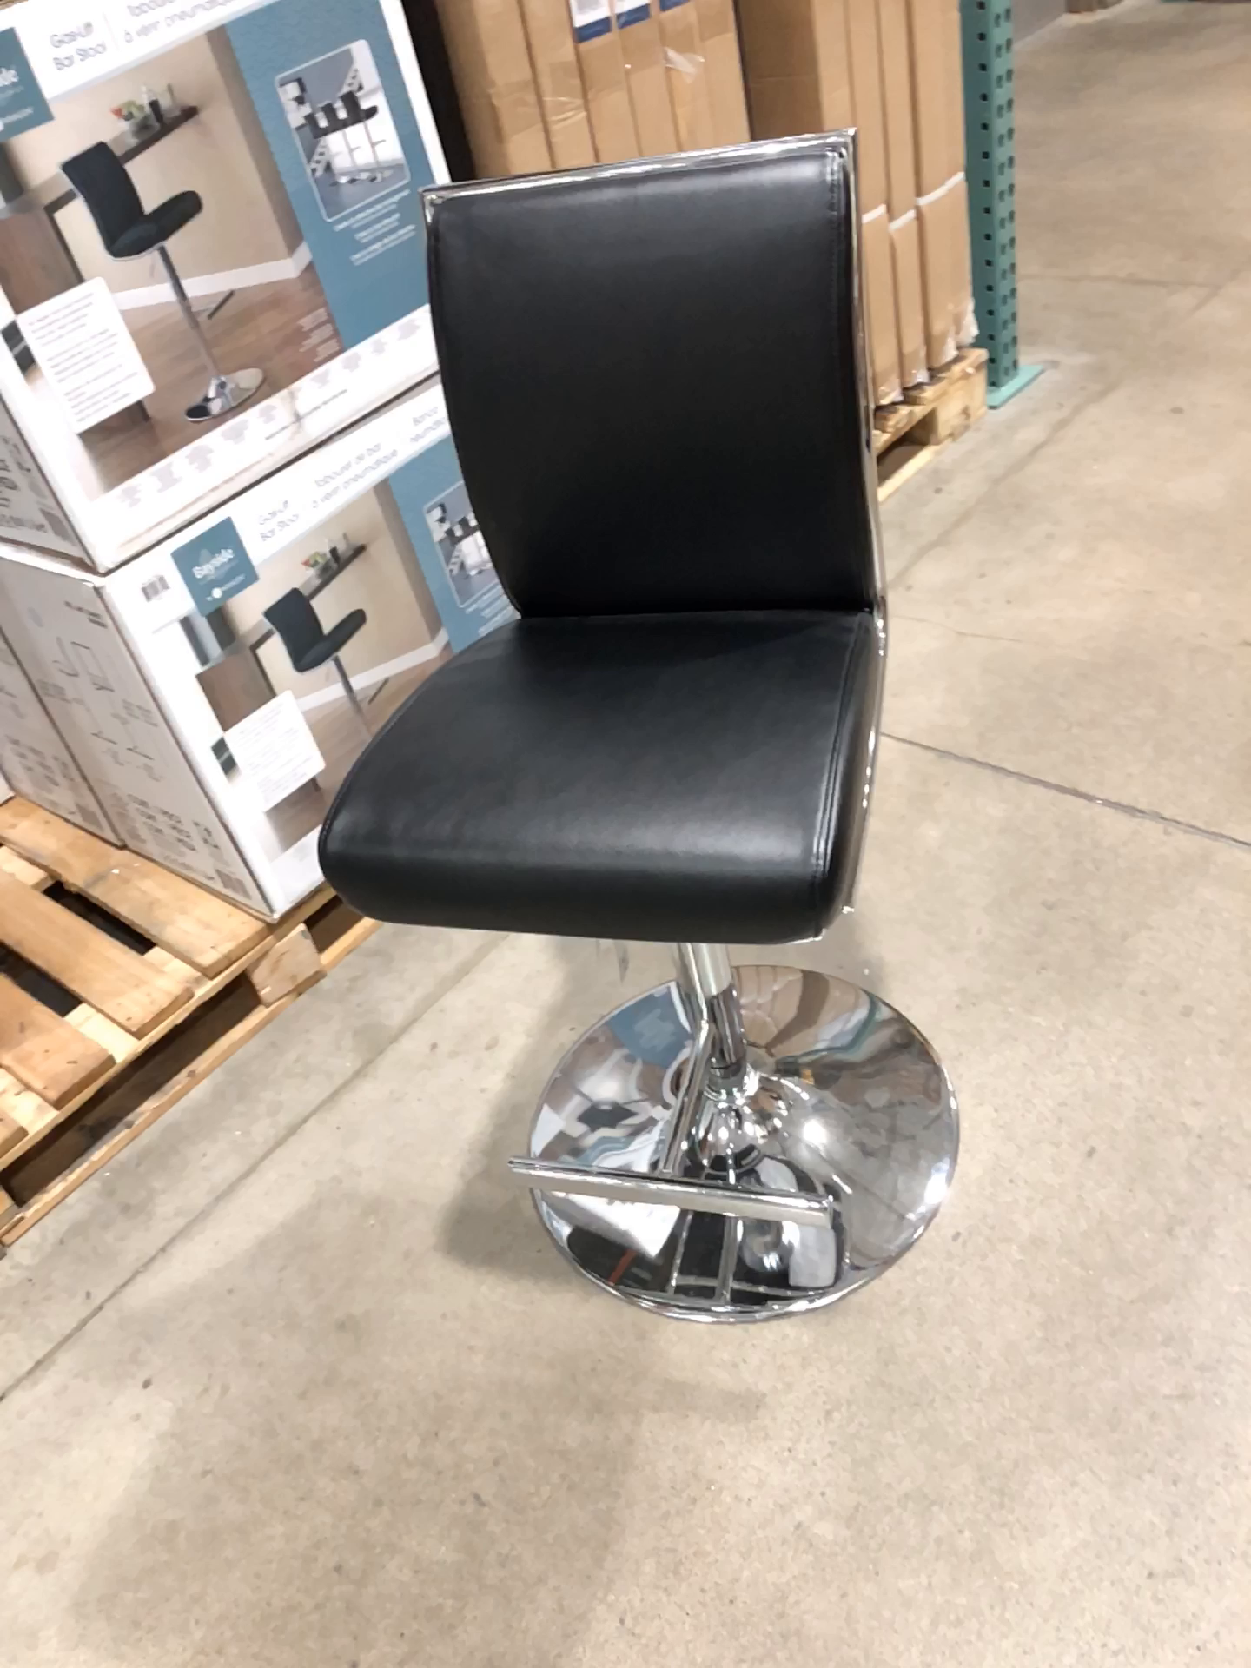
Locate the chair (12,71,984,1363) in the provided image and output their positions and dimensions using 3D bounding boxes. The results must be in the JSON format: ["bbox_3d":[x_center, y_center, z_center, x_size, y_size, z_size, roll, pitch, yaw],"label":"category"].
[{"bbox_3d":[0.032,-0.055,1.235,0.530,0.946,0.542,0,40,16],"label":"chair"}]
